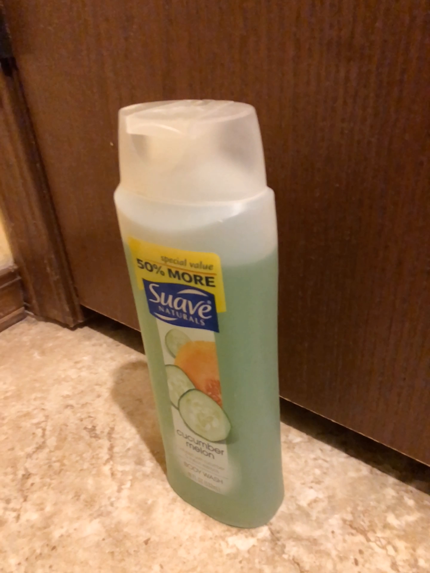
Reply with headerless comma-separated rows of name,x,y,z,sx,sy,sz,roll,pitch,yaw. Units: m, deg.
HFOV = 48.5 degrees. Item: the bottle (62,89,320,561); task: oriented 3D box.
bottle,0.000,0.030,0.248,0.090,0.239,0.050,14,35,31
